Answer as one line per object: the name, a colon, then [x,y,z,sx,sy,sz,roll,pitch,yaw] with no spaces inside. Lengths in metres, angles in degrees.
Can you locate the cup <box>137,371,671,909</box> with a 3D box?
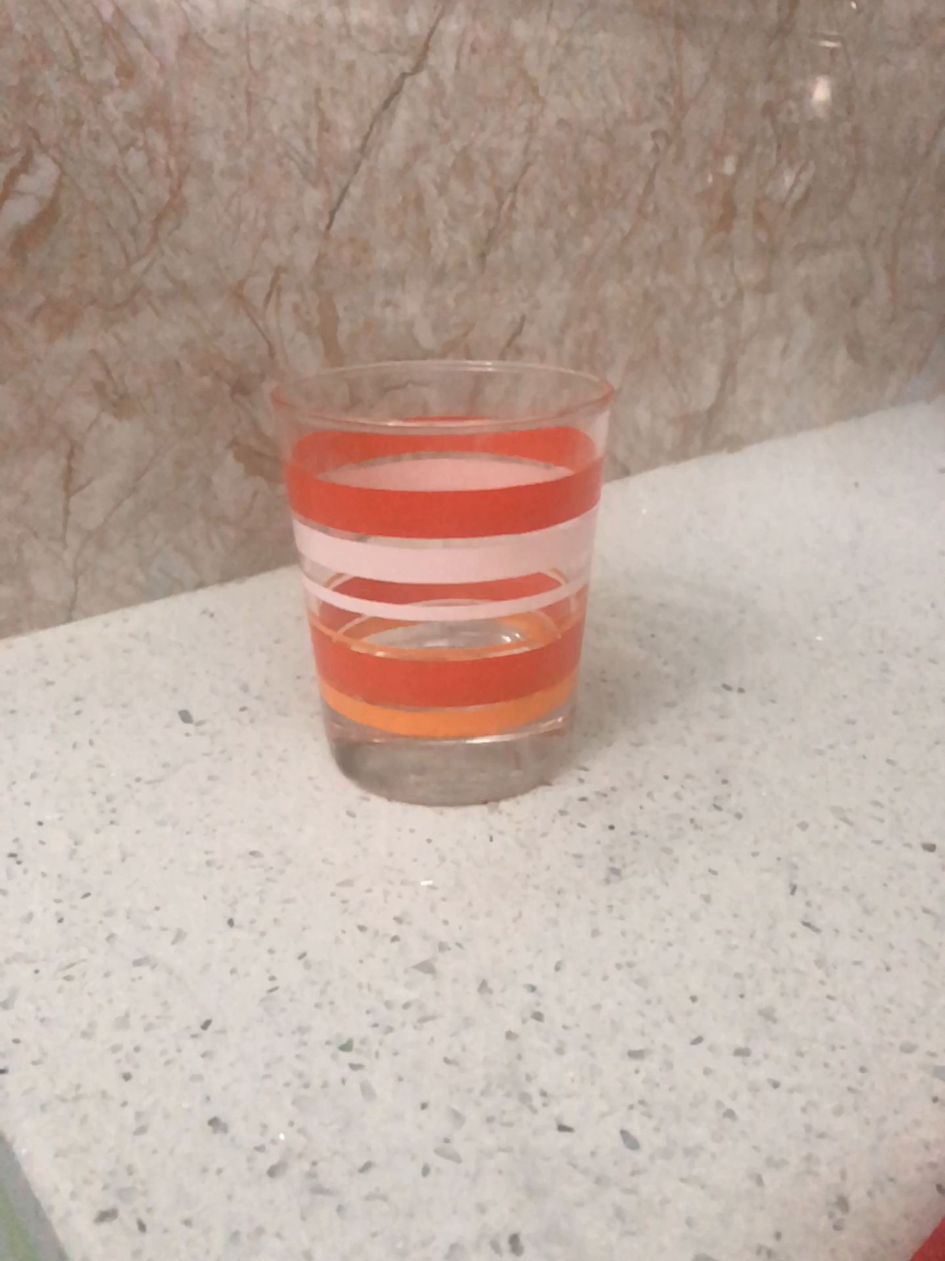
cup: [-0.013,-0.008,0.255,0.080,0.090,0.090,18,29,39]
